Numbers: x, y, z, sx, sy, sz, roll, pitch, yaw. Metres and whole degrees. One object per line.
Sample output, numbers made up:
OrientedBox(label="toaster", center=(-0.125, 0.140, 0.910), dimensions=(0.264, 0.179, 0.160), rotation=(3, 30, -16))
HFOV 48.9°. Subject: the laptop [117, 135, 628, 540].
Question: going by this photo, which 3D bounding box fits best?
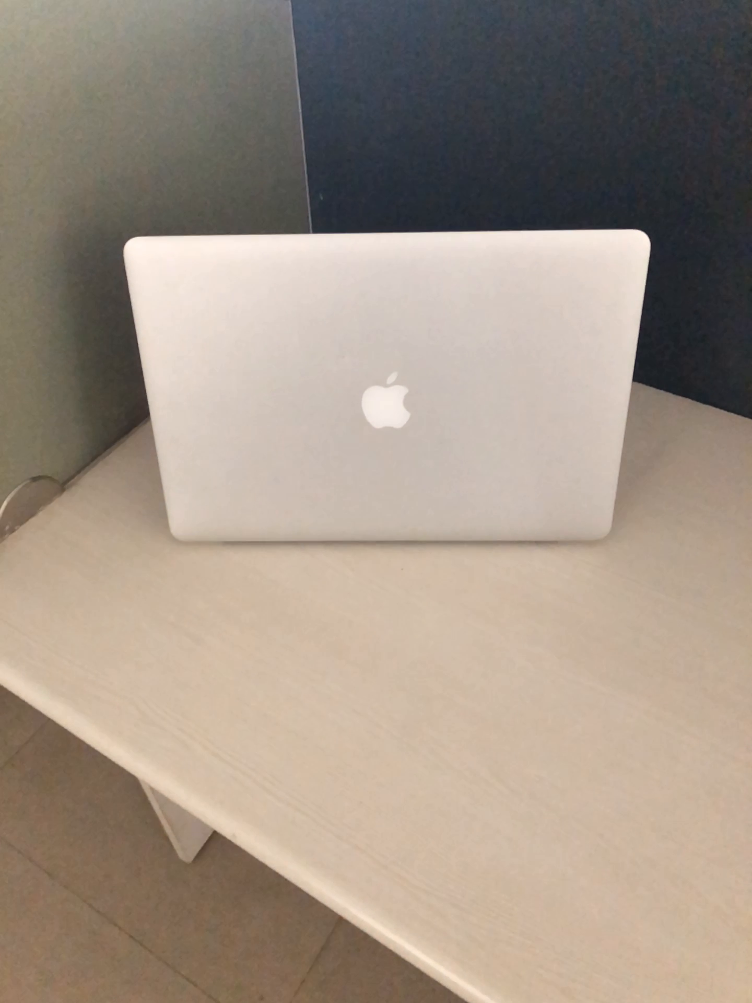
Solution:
OrientedBox(label="laptop", center=(0.002, -0.136, 0.690), dimensions=(0.321, 0.233, 0.245), rotation=(0, 45, 2))
